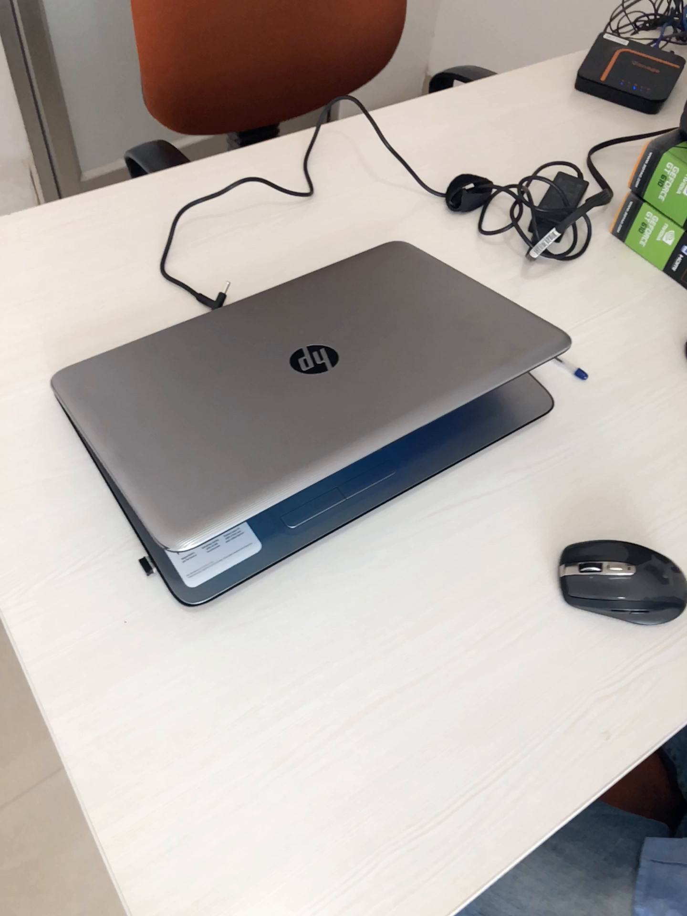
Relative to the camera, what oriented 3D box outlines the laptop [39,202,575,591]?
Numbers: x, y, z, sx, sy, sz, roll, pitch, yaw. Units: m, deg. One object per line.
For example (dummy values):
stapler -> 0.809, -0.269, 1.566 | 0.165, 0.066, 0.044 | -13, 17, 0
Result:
laptop -> -0.026, -0.075, 0.631 | 0.356, 0.062, 0.226 | -27, 62, -23
